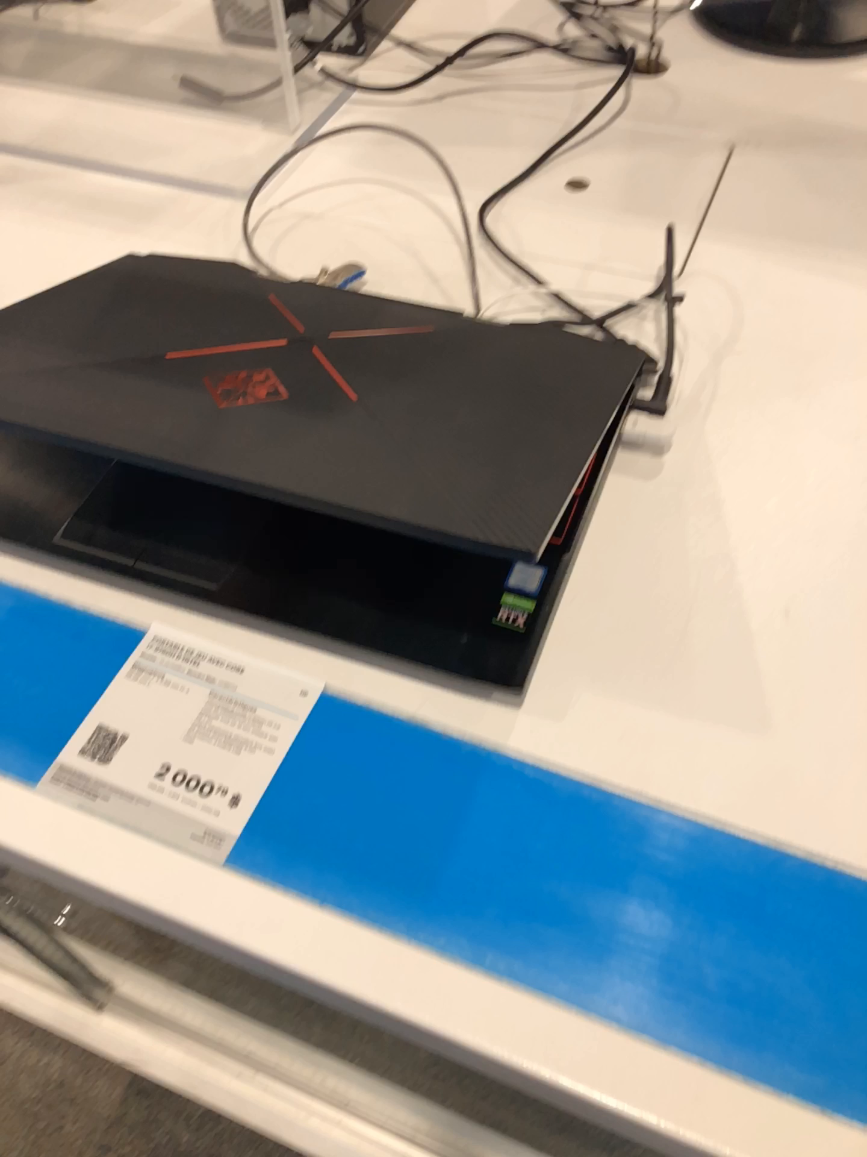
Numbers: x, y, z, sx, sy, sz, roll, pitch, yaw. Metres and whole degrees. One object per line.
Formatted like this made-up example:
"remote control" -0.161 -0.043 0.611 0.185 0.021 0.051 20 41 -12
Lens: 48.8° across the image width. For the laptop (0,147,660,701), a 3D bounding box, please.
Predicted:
"laptop" -0.081 -0.106 0.515 0.347 0.085 0.235 16 55 15
